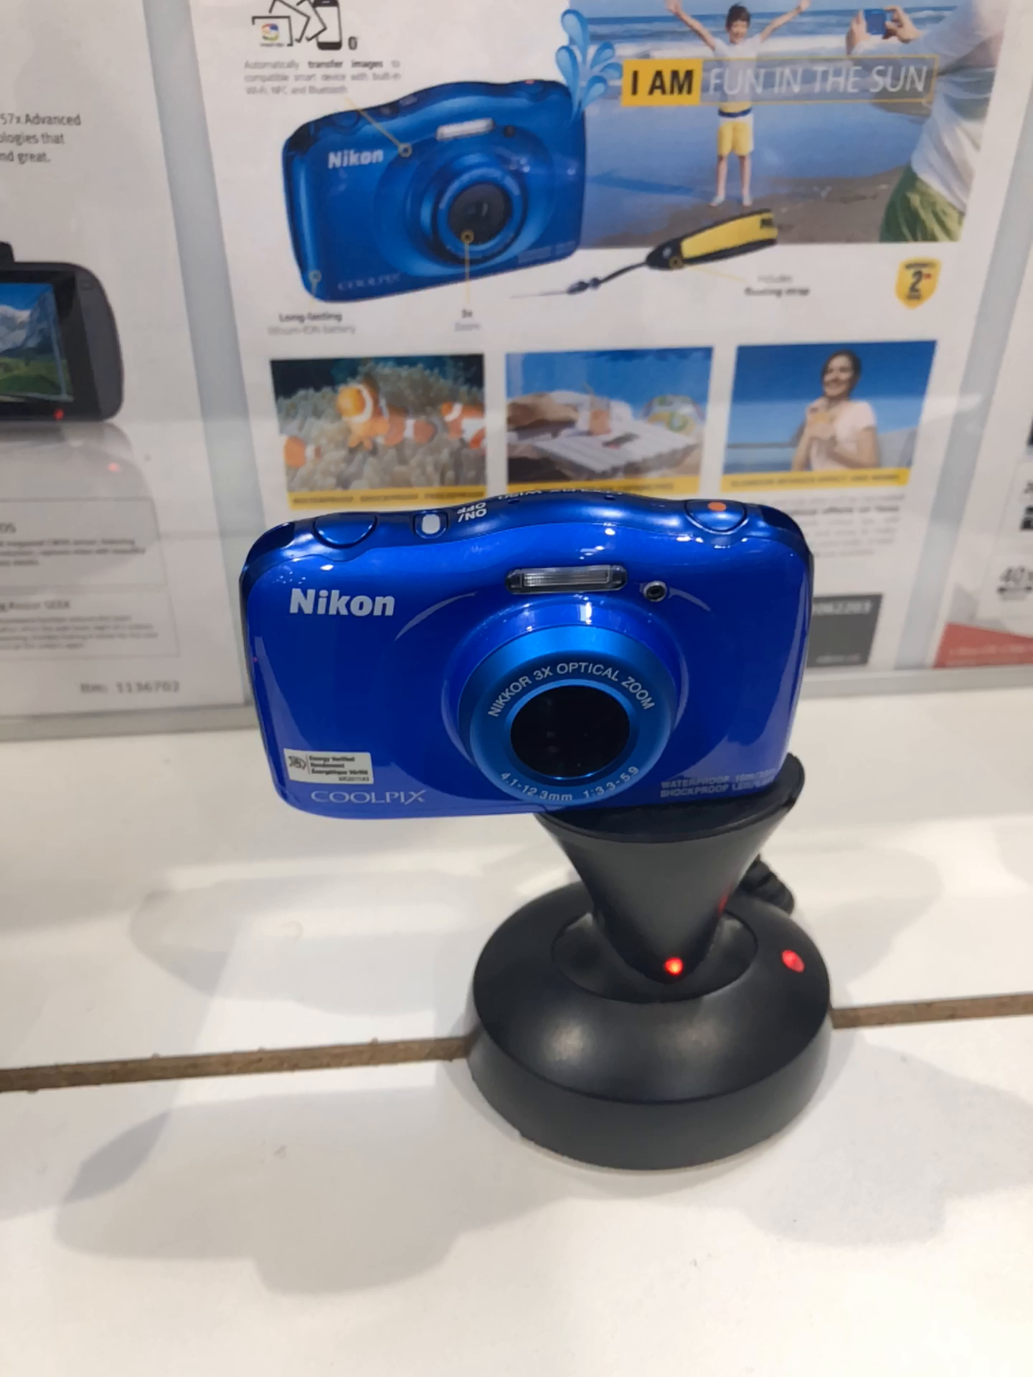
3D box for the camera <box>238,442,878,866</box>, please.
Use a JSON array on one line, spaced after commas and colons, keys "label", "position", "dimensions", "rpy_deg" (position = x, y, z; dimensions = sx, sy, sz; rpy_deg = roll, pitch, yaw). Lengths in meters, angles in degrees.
[{"label": "camera", "position": [0.005, -0.007, 0.212], "dimensions": [0.100, 0.060, 0.040], "rpy_deg": [-4, 37, -5]}]
